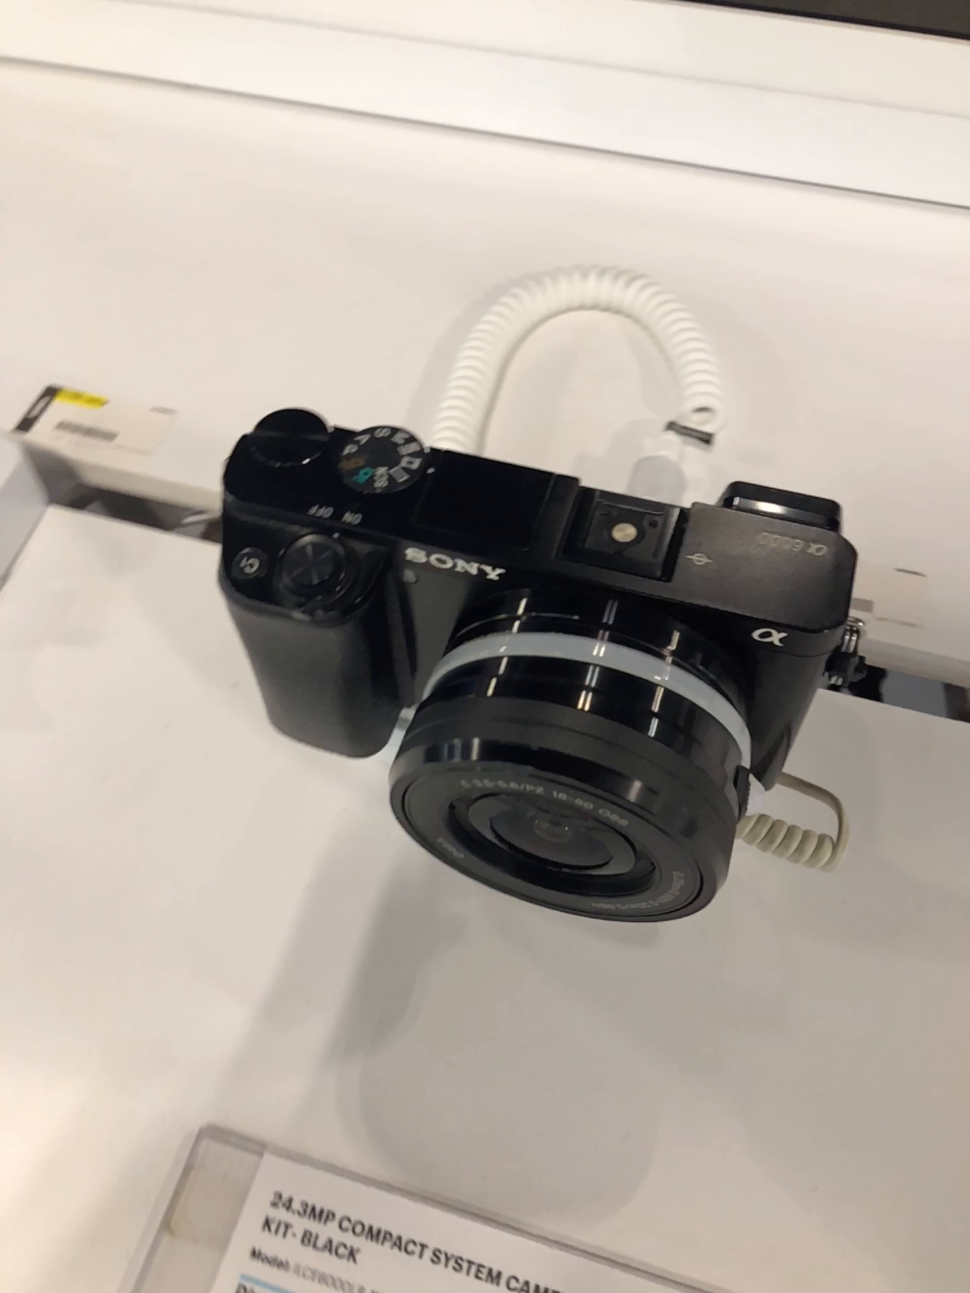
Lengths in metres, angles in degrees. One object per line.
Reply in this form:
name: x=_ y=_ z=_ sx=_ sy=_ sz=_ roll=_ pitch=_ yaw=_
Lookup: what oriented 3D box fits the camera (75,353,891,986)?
camera: x=0.003 y=0.004 z=0.207 sx=0.120 sy=0.070 sz=0.070 roll=13 pitch=58 yaw=10
